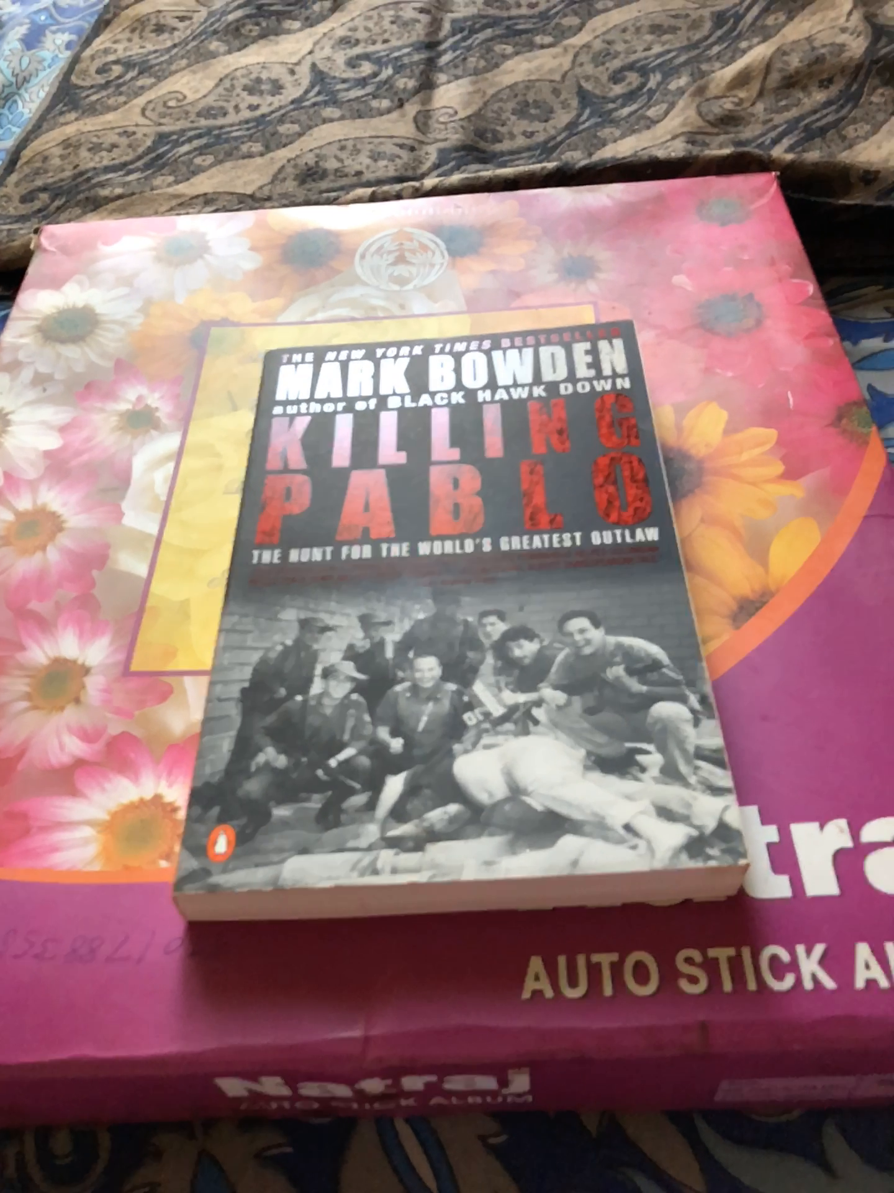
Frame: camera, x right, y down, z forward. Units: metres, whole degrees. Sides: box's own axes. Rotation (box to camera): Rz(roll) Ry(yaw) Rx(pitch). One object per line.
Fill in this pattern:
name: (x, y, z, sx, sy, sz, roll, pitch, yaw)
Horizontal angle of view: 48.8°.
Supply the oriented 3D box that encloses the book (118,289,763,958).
book: (-0.003, -0.010, 0.313, 0.150, 0.030, 0.231, -6, 49, 7)
